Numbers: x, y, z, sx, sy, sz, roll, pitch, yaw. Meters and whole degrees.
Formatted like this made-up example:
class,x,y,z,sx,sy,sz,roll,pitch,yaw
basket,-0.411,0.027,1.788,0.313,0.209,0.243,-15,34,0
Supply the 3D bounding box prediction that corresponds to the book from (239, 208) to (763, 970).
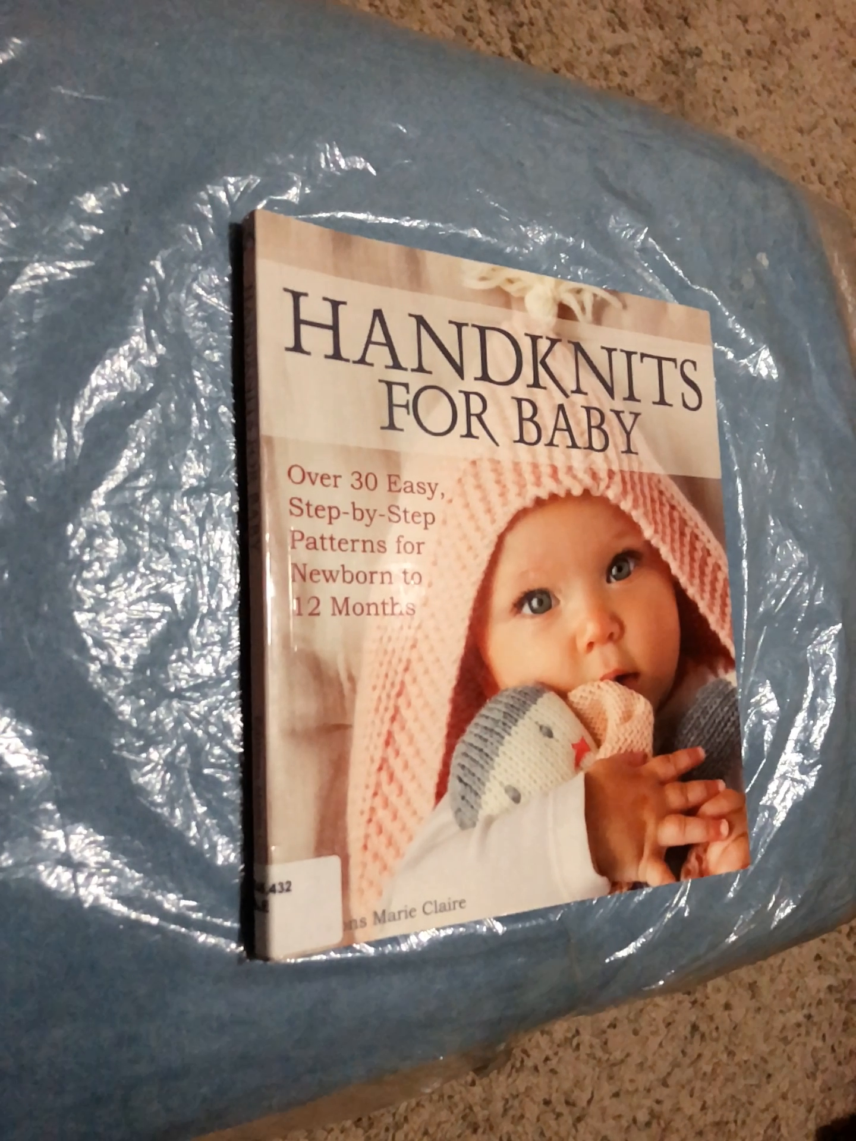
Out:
class,x,y,z,sx,sy,sz,roll,pitch,yaw
book,0.034,0.004,0.330,0.197,0.020,0.220,1,84,-30
